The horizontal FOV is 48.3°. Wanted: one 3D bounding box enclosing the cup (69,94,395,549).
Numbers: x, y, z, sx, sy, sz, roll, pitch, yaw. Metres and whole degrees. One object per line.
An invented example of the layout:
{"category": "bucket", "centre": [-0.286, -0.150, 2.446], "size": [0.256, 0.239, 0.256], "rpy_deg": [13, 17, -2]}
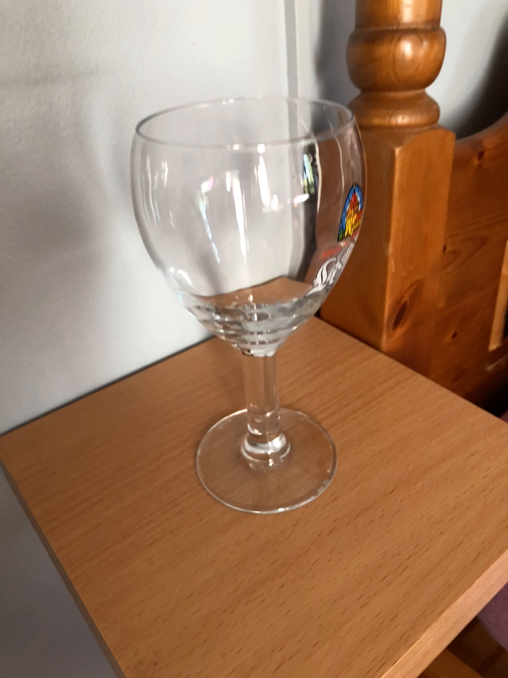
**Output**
{"category": "cup", "centre": [-0.002, -0.016, 0.282], "size": [0.100, 0.185, 0.096], "rpy_deg": [-3, 28, 2]}
